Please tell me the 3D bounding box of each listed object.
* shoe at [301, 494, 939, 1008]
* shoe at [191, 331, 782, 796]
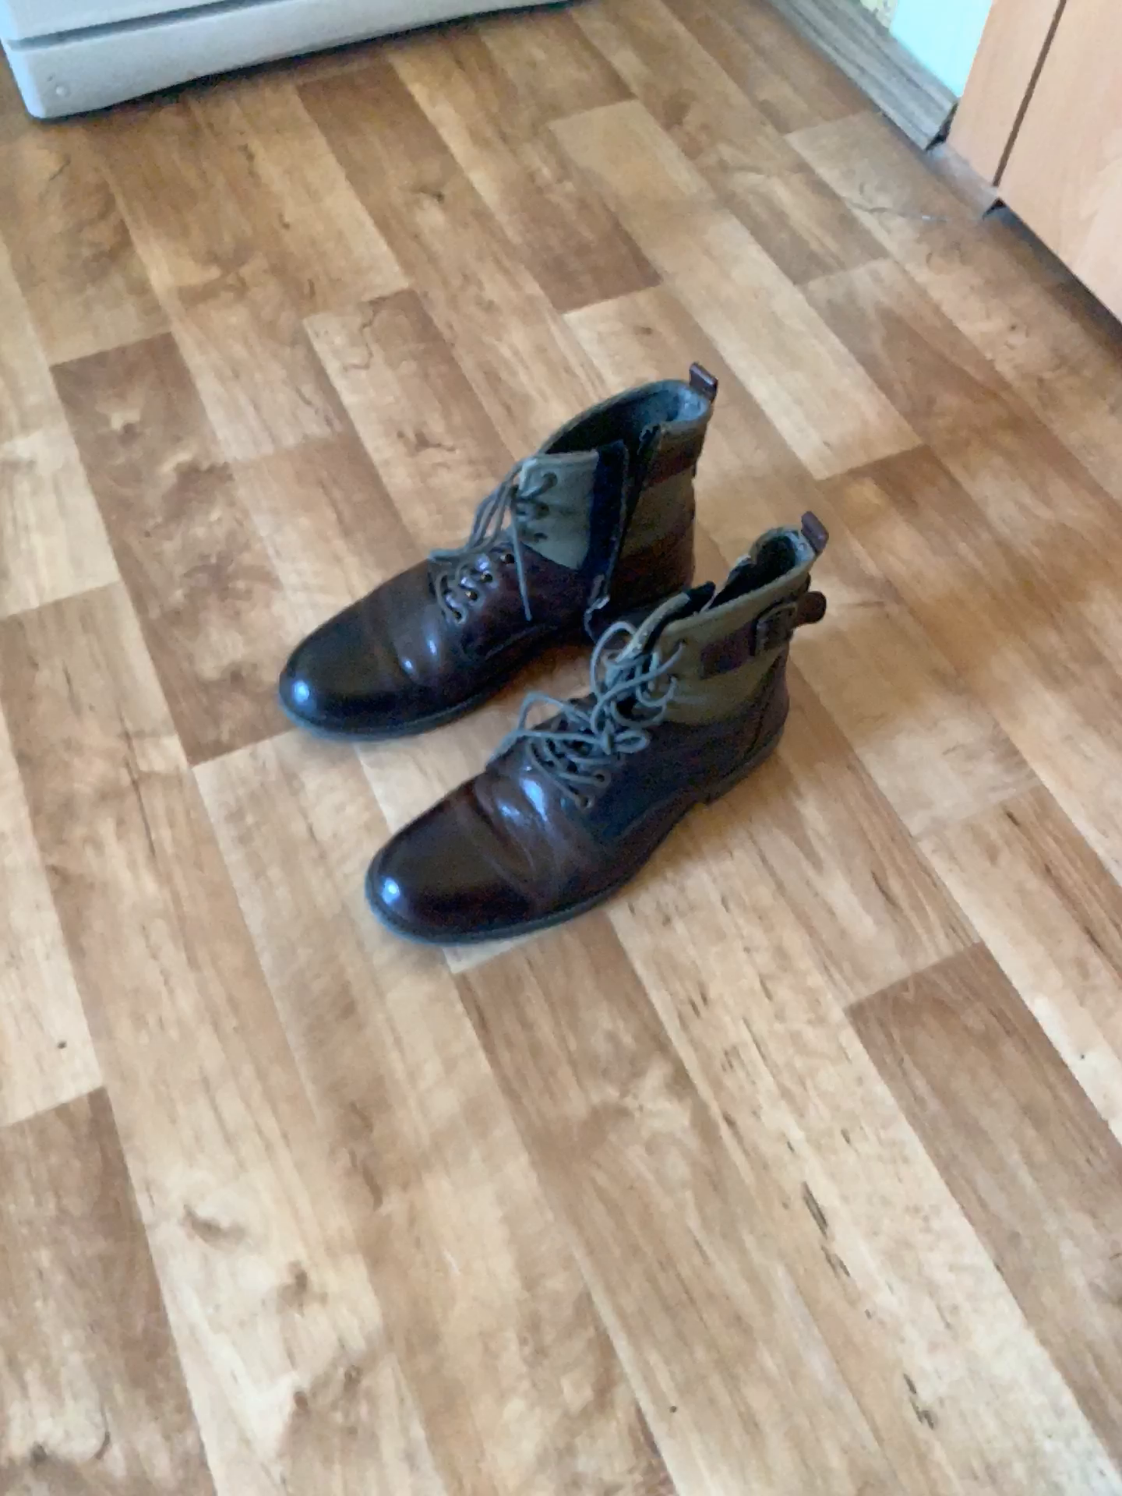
[{"bbox_3d":[0.033,0.002,0.649,0.310,0.150,0.110,-26,64,-15],"label":"shoe"},{"bbox_3d":[-0.039,-0.112,0.706,0.310,0.150,0.110,-24,64,-14],"label":"shoe"}]
